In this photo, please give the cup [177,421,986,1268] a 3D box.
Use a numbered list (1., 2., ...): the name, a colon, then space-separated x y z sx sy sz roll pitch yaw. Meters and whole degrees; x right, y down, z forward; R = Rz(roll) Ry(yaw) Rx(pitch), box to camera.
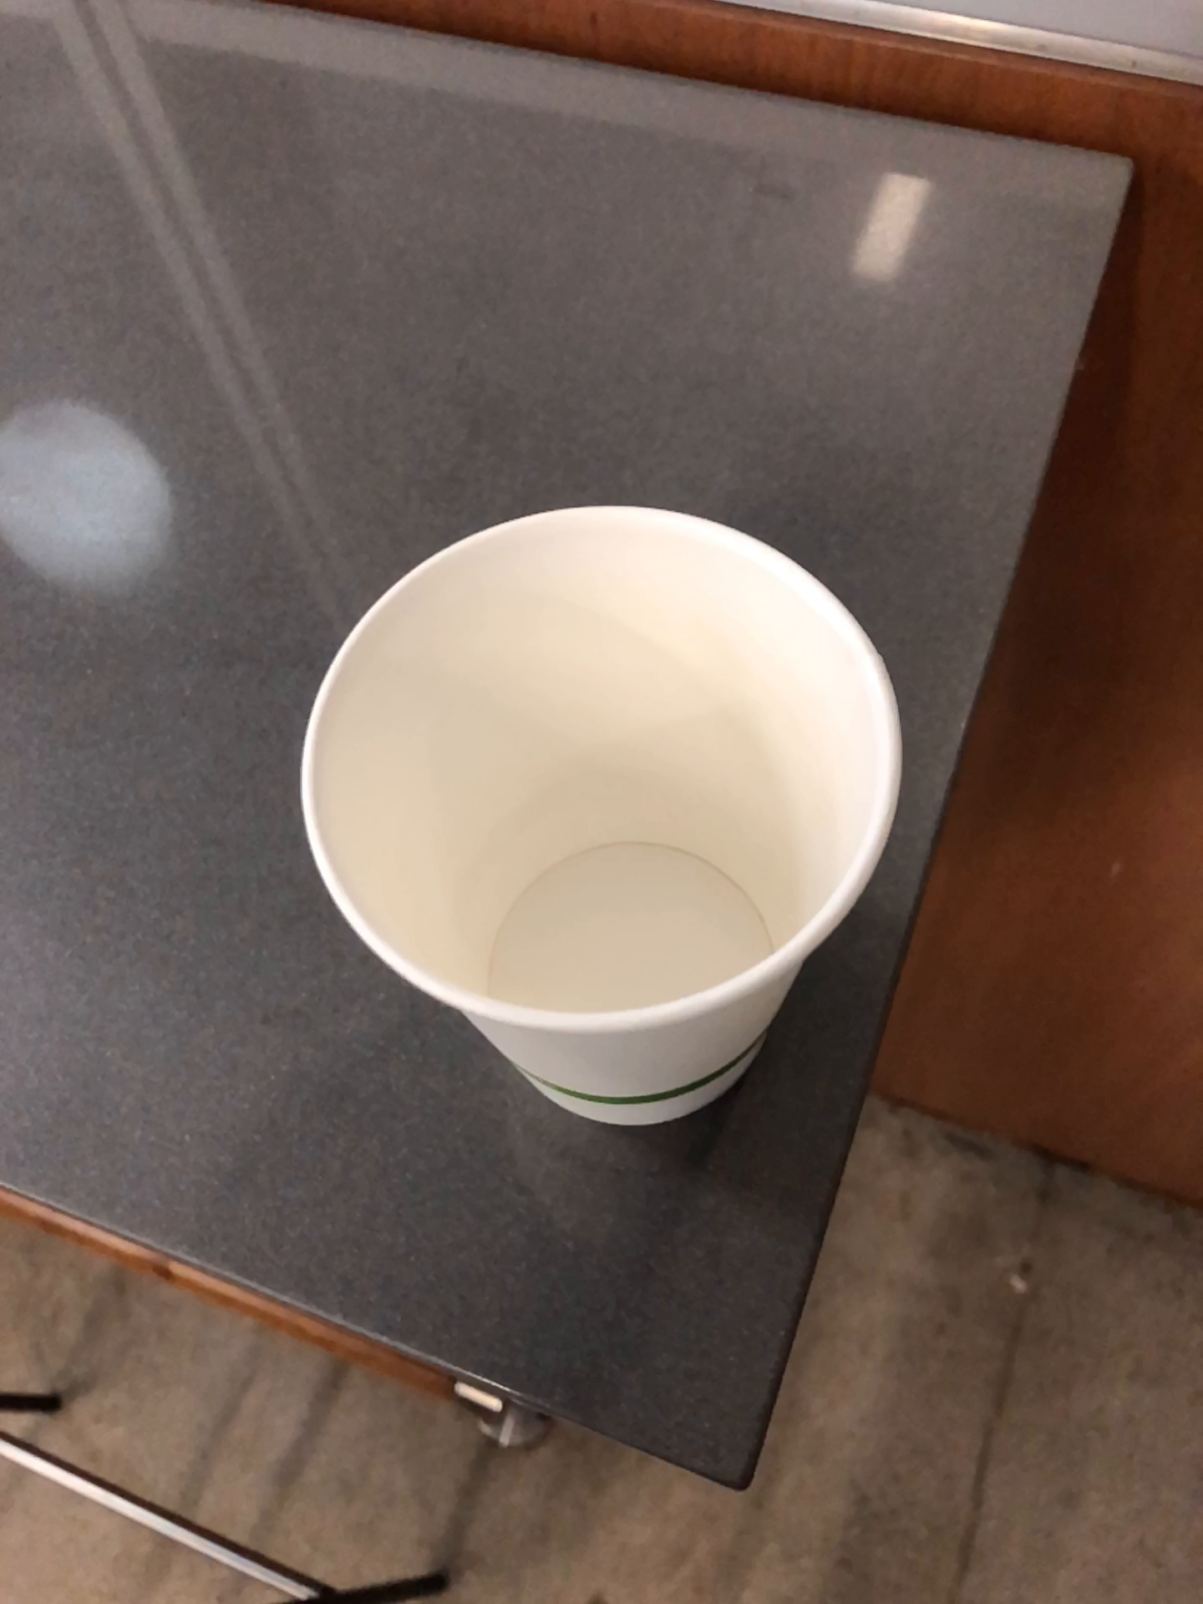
1. cup: -0.003 0.016 0.244 0.090 0.120 0.080 -24 63 -9
